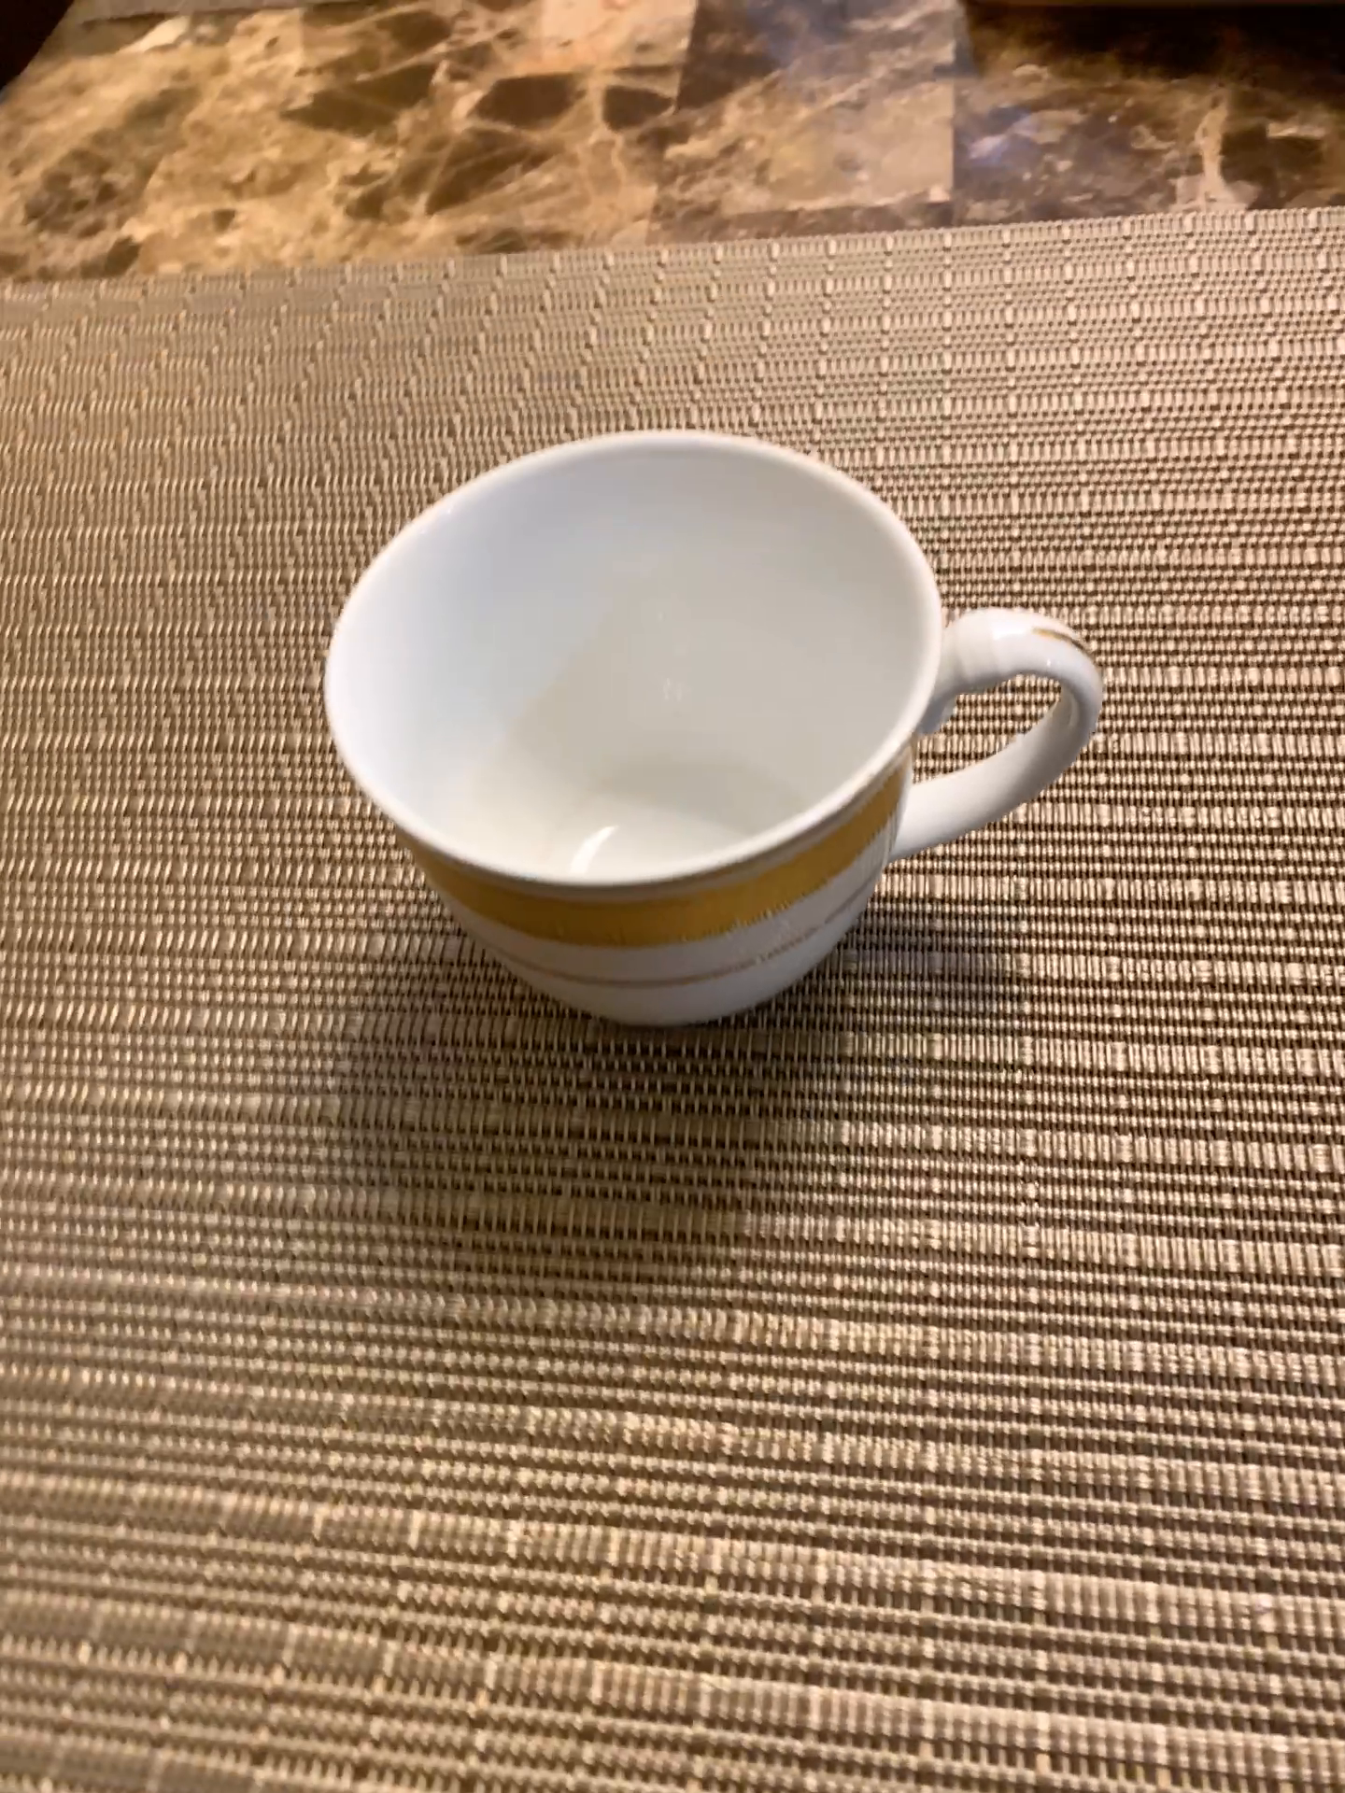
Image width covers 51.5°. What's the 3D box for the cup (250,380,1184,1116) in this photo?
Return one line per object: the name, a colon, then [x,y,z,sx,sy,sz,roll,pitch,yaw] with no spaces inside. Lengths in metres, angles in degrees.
cup: [0.007,-0.020,0.199,0.103,0.055,0.083,-3,56,6]
